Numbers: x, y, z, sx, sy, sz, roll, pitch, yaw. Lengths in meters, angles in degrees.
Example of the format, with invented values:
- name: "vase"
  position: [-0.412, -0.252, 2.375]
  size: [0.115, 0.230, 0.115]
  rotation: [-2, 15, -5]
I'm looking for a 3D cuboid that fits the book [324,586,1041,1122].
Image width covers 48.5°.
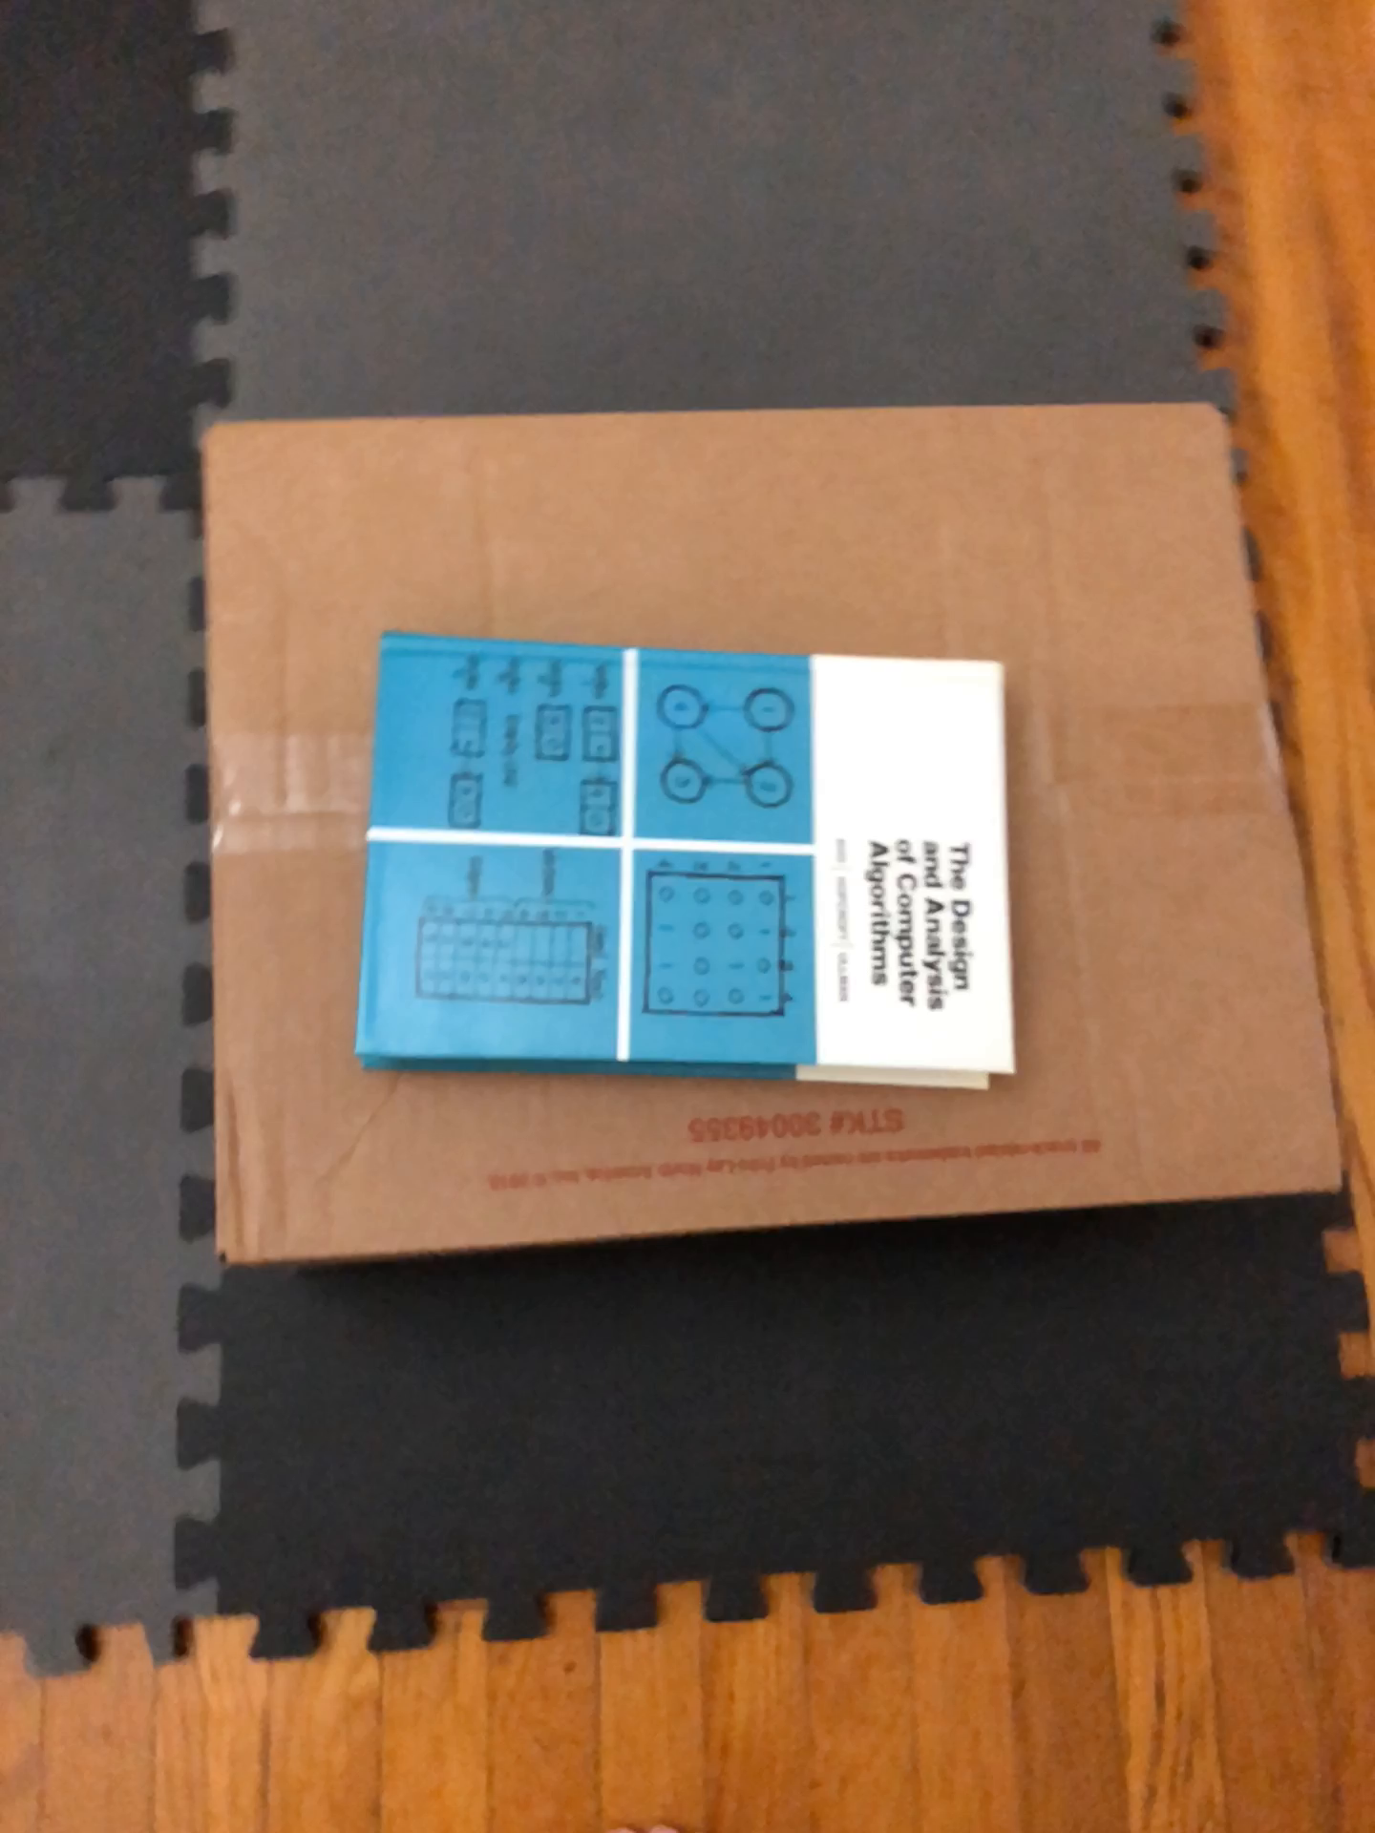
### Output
- name: "book"
  position: [0.002, -0.023, 0.592]
  size: [0.260, 0.040, 0.190]
  rotation: [3, 77, -5]
